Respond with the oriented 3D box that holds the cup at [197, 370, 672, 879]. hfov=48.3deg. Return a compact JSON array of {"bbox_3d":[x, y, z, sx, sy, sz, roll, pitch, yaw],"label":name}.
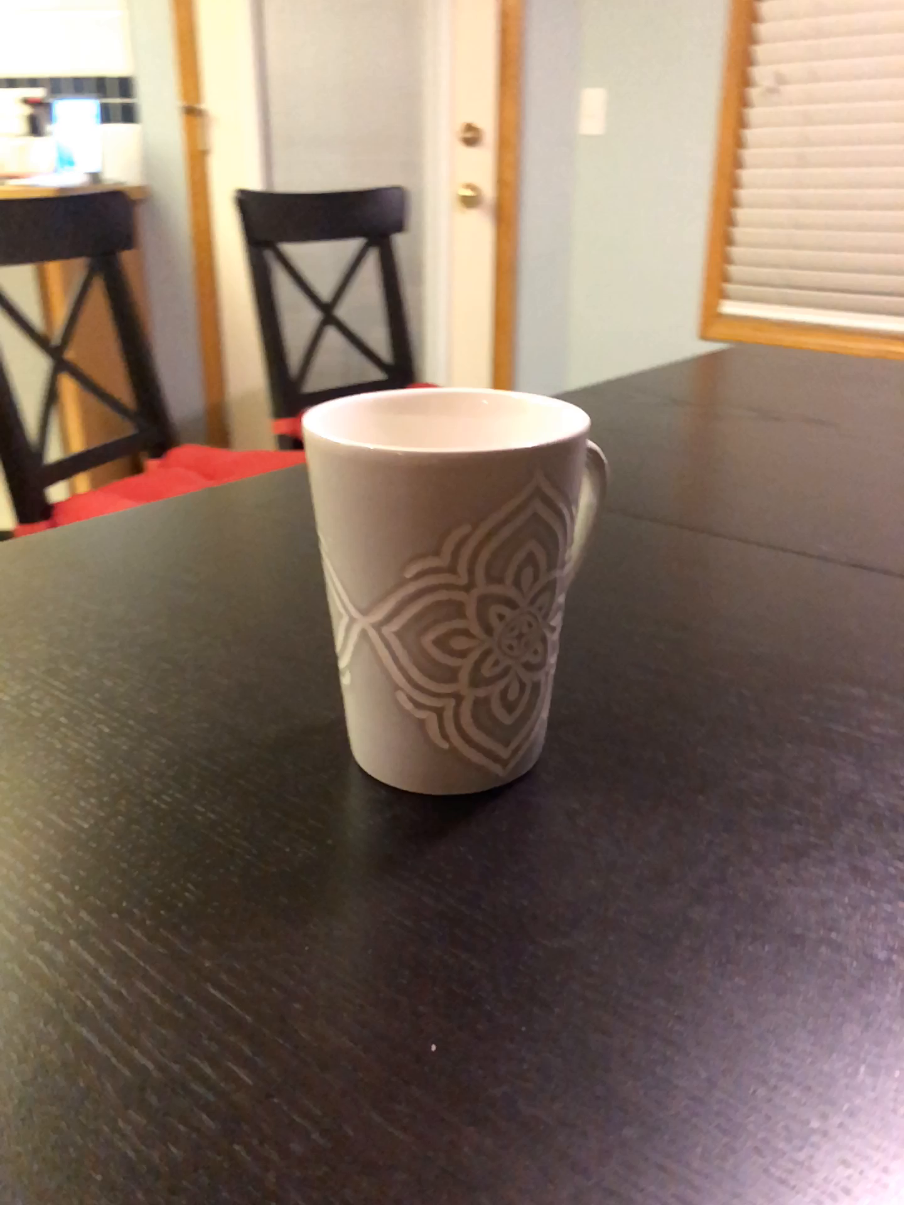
[{"bbox_3d":[-0.002,-0.005,0.366,0.100,0.129,0.130,18,28,37],"label":"cup"}]
